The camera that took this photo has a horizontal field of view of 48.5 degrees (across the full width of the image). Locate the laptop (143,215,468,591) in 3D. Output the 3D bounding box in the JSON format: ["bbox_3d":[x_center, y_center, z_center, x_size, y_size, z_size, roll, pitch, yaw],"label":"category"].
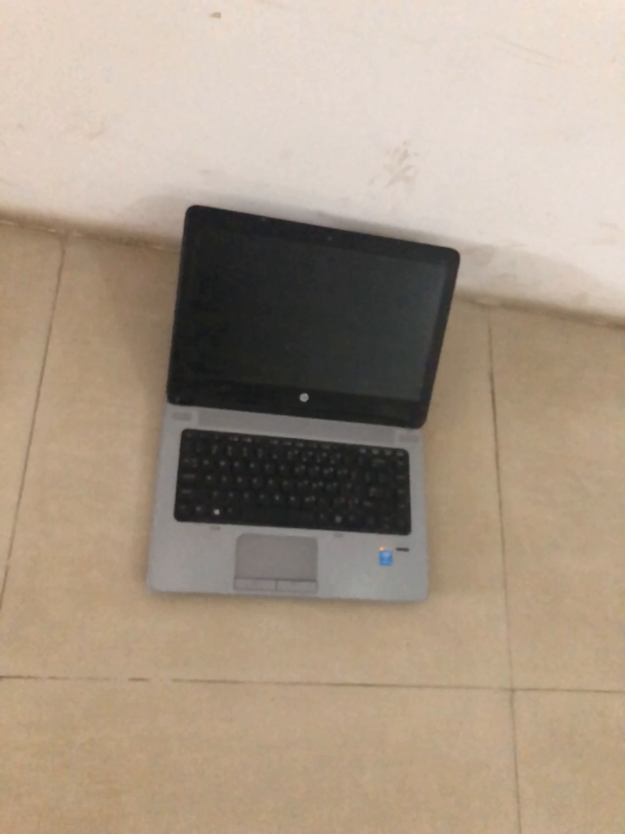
[{"bbox_3d":[-0.013,-0.007,0.806,0.318,0.146,0.386,6,67,-14],"label":"laptop"}]
